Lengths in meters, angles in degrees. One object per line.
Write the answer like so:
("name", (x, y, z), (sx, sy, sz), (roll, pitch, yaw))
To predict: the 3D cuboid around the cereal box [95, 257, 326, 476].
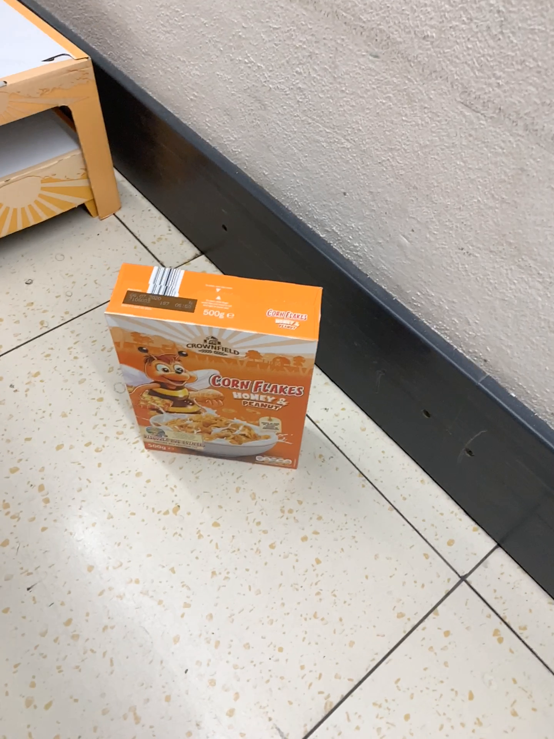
("cereal box", (-0.064, 0.013, 0.626), (0.200, 0.268, 0.071), (8, 54, 2))
